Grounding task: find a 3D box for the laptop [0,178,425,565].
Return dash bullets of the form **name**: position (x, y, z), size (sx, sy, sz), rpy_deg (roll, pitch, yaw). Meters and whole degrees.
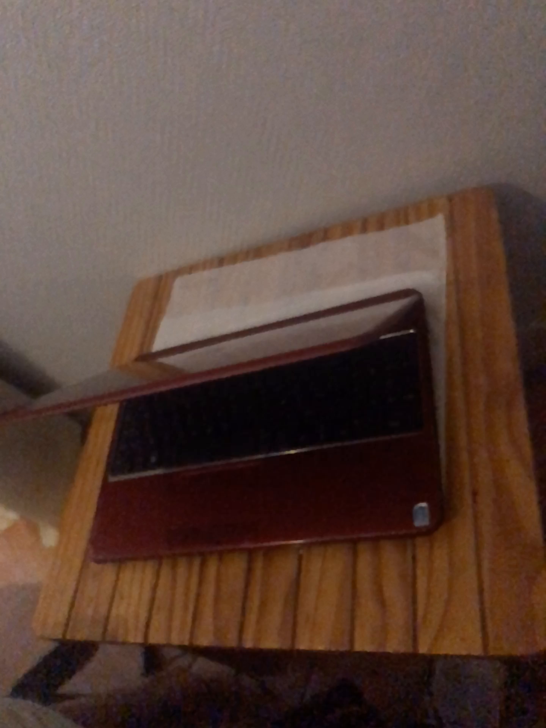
- **laptop**: position (-0.071, 0.023, 0.595), size (0.372, 0.168, 0.254), rpy_deg (-13, 51, 20)
